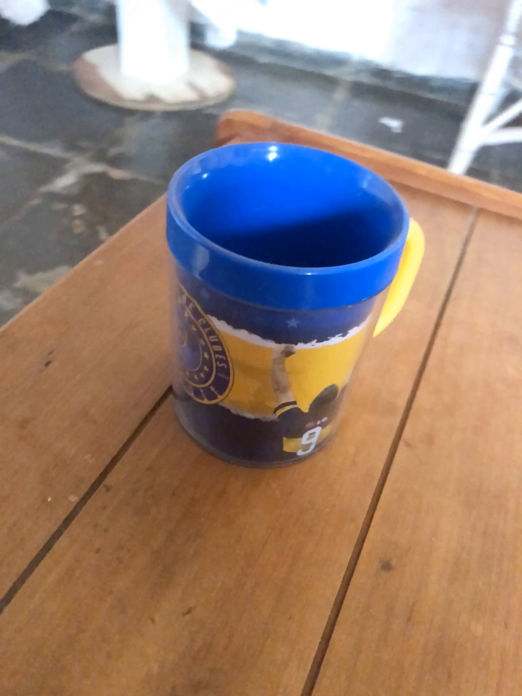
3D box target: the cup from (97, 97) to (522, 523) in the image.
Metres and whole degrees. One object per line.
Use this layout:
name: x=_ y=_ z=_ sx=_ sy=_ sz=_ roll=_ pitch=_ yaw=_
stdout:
cup: x=0.014 y=-0.020 z=0.235 sx=0.120 sy=0.109 sz=0.090 roll=-20 pitch=51 yaw=-26
